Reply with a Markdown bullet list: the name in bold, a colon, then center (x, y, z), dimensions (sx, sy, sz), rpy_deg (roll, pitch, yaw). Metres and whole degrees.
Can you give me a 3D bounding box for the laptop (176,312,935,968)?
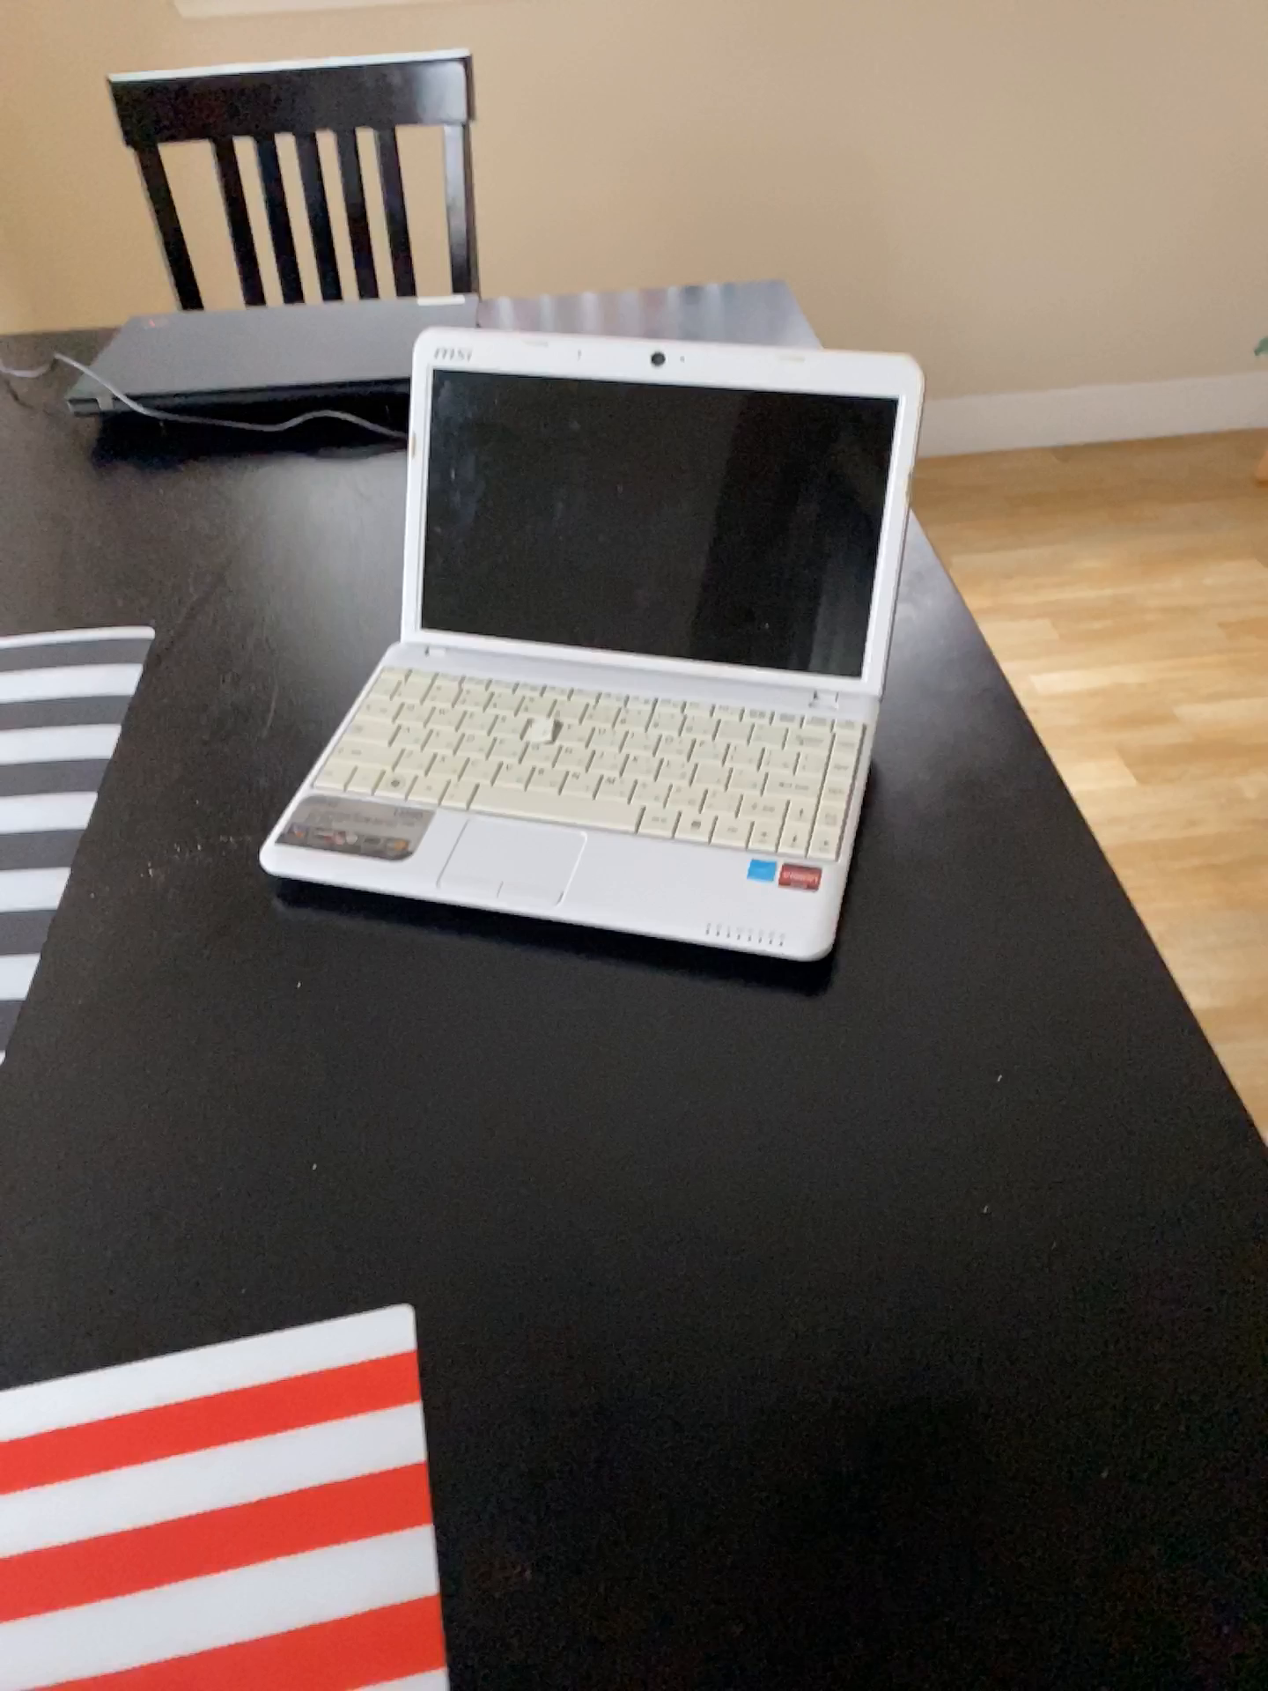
- **laptop**: center (-0.015, -0.128, 0.674), dimensions (0.294, 0.153, 0.302), rpy_deg (8, 46, 13)
